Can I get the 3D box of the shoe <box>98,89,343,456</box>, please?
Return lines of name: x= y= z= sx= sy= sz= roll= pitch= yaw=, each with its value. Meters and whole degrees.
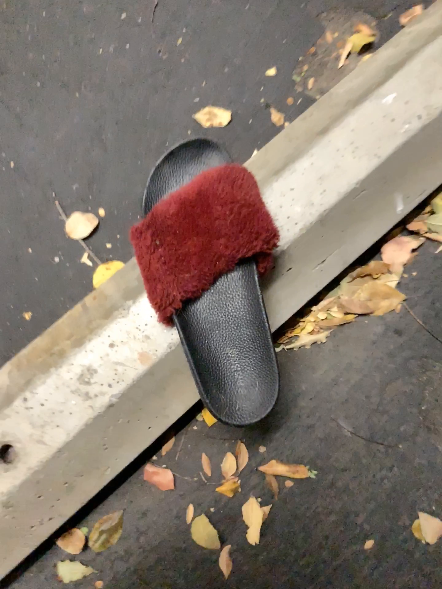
shoe: x=-0.004 y=-0.022 z=0.428 sx=0.140 sy=0.050 sz=0.280 roll=-13 pitch=84 yaw=-3
